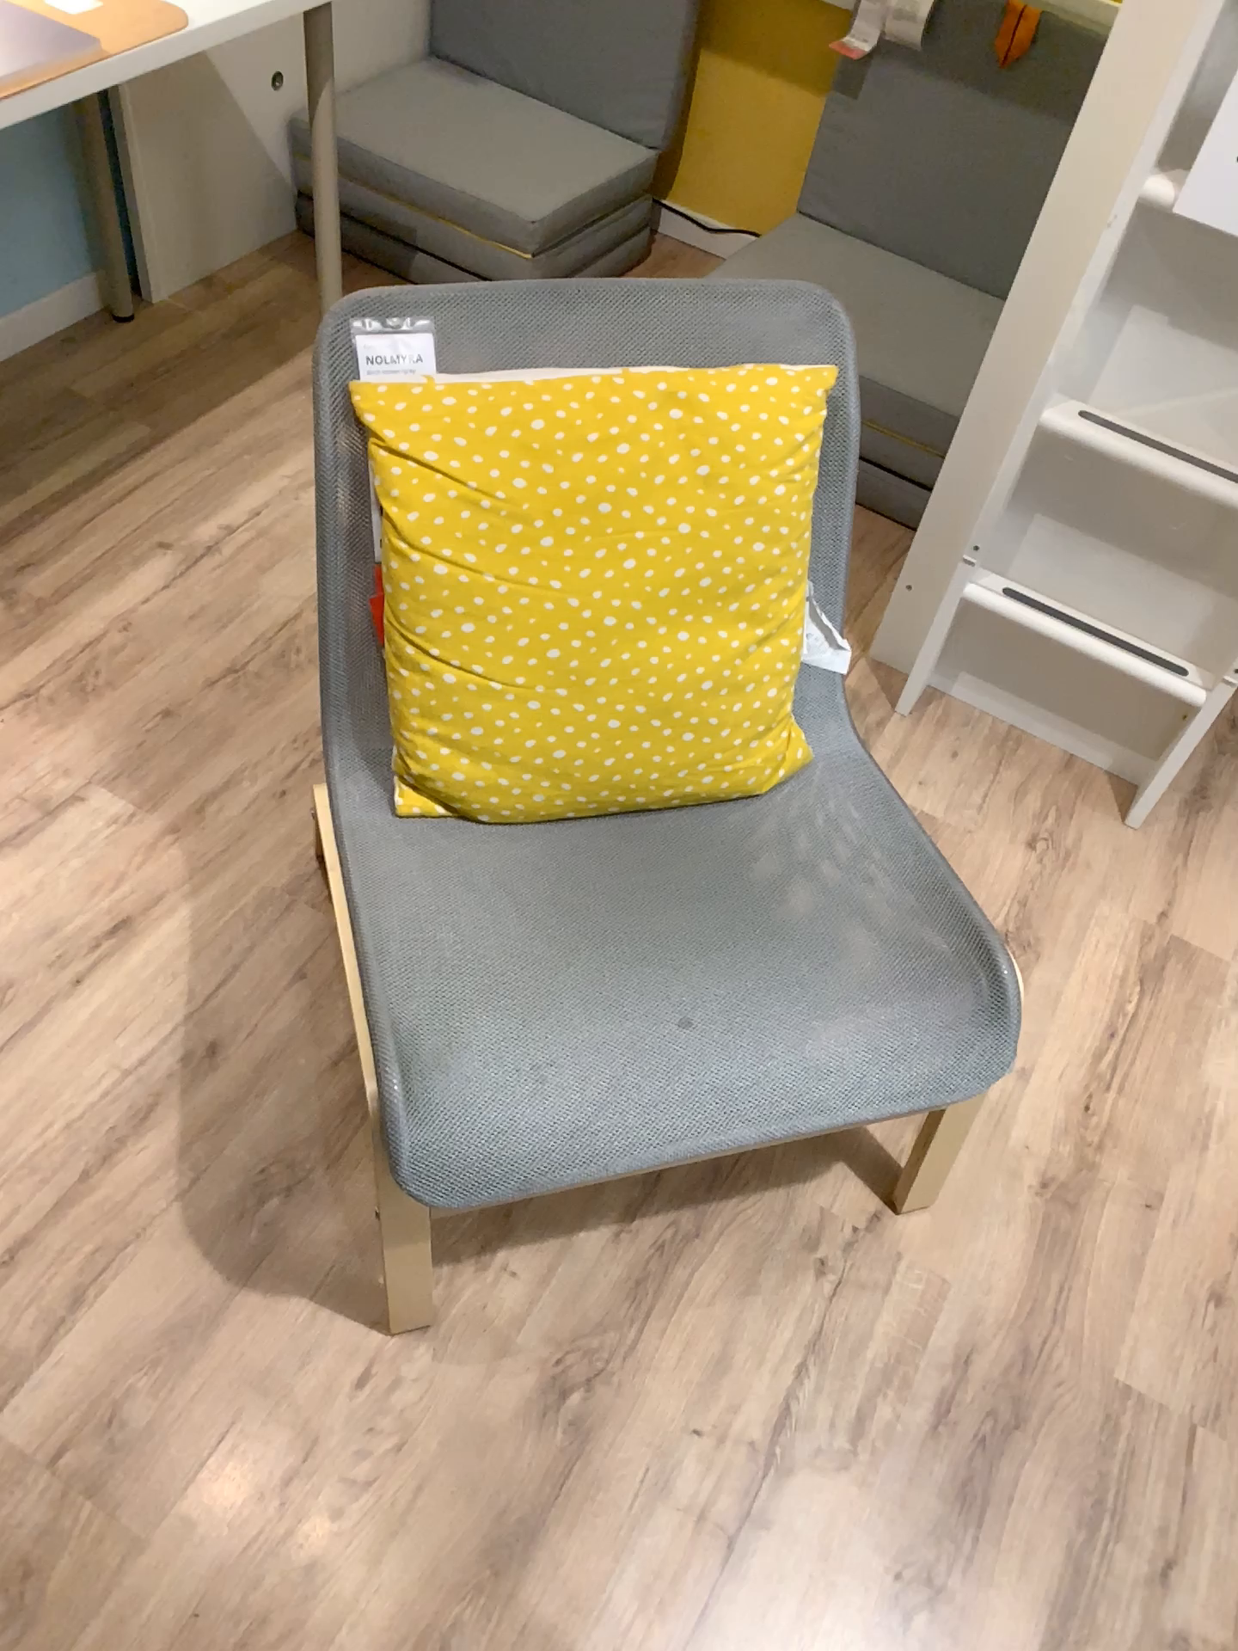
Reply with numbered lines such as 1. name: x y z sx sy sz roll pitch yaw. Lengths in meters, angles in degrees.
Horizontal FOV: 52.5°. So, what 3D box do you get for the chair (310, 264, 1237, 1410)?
1. chair: 0.096 -0.006 1.151 0.630 0.708 0.672 -7 50 -17
